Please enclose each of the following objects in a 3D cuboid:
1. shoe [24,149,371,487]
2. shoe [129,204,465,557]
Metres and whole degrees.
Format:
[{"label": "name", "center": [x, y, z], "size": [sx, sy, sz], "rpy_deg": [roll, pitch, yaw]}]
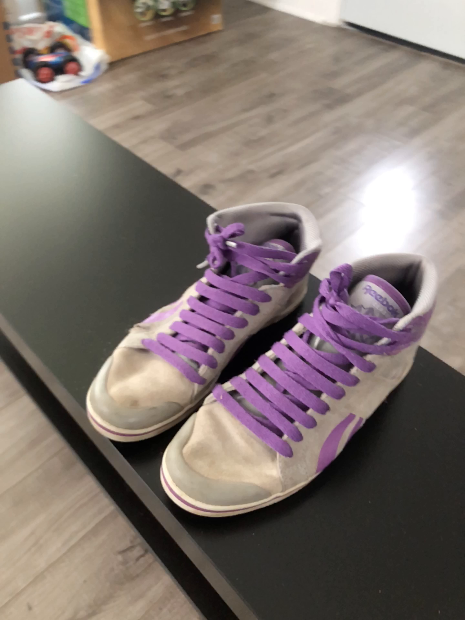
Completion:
[{"label": "shoe", "center": [-0.012, -0.008, 0.400], "size": [0.100, 0.120, 0.240], "rpy_deg": [33, 54, 26]}, {"label": "shoe", "center": [0.062, 0.036, 0.358], "size": [0.240, 0.110, 0.090], "rpy_deg": [-29, 54, -26]}]
